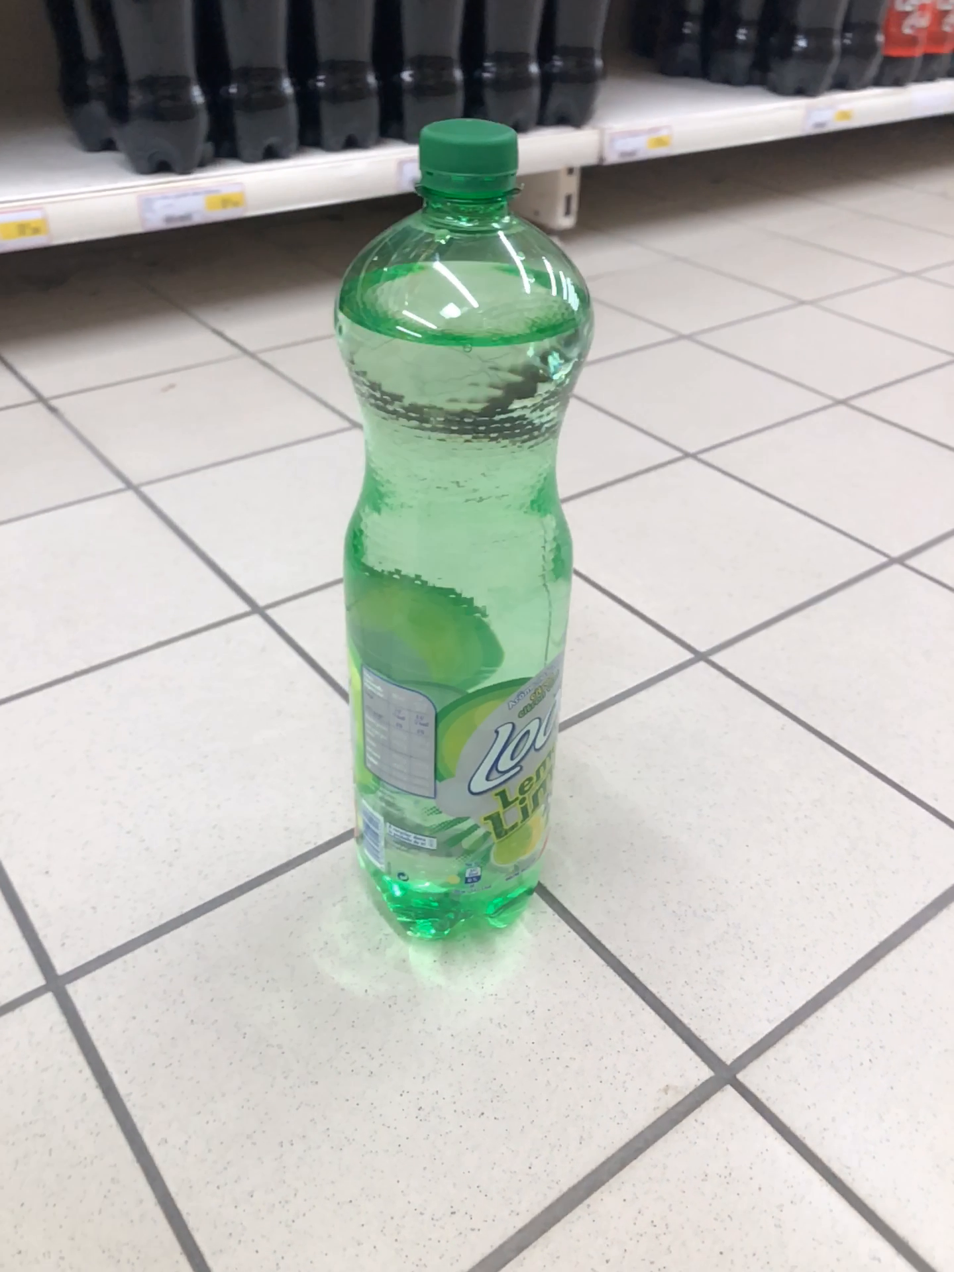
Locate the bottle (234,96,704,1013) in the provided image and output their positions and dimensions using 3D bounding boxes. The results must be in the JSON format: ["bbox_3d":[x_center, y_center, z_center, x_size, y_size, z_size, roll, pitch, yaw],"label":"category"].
[{"bbox_3d":[-0.004,-0.016,0.399,0.100,0.318,0.101,1,35,-1],"label":"bottle"}]
